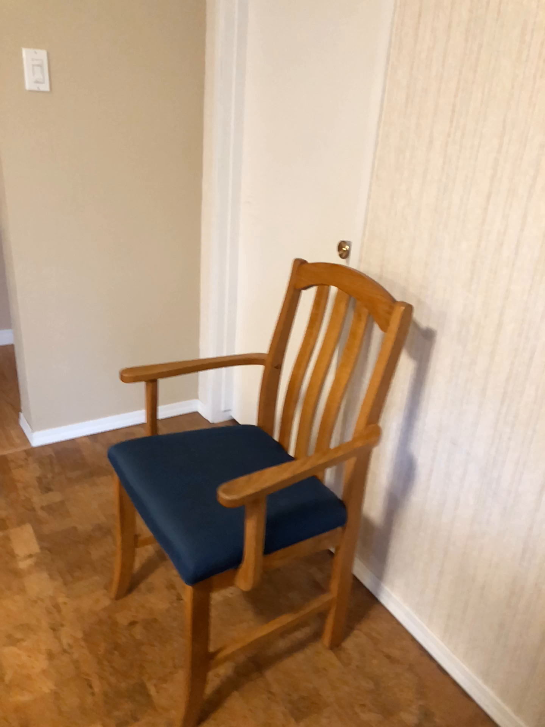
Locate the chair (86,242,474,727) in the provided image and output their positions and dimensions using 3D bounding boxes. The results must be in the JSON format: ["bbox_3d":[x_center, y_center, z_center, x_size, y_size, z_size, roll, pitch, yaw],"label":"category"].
[{"bbox_3d":[-0.034,0.259,1.407,0.590,0.937,0.552,-11,28,-32],"label":"chair"}]
